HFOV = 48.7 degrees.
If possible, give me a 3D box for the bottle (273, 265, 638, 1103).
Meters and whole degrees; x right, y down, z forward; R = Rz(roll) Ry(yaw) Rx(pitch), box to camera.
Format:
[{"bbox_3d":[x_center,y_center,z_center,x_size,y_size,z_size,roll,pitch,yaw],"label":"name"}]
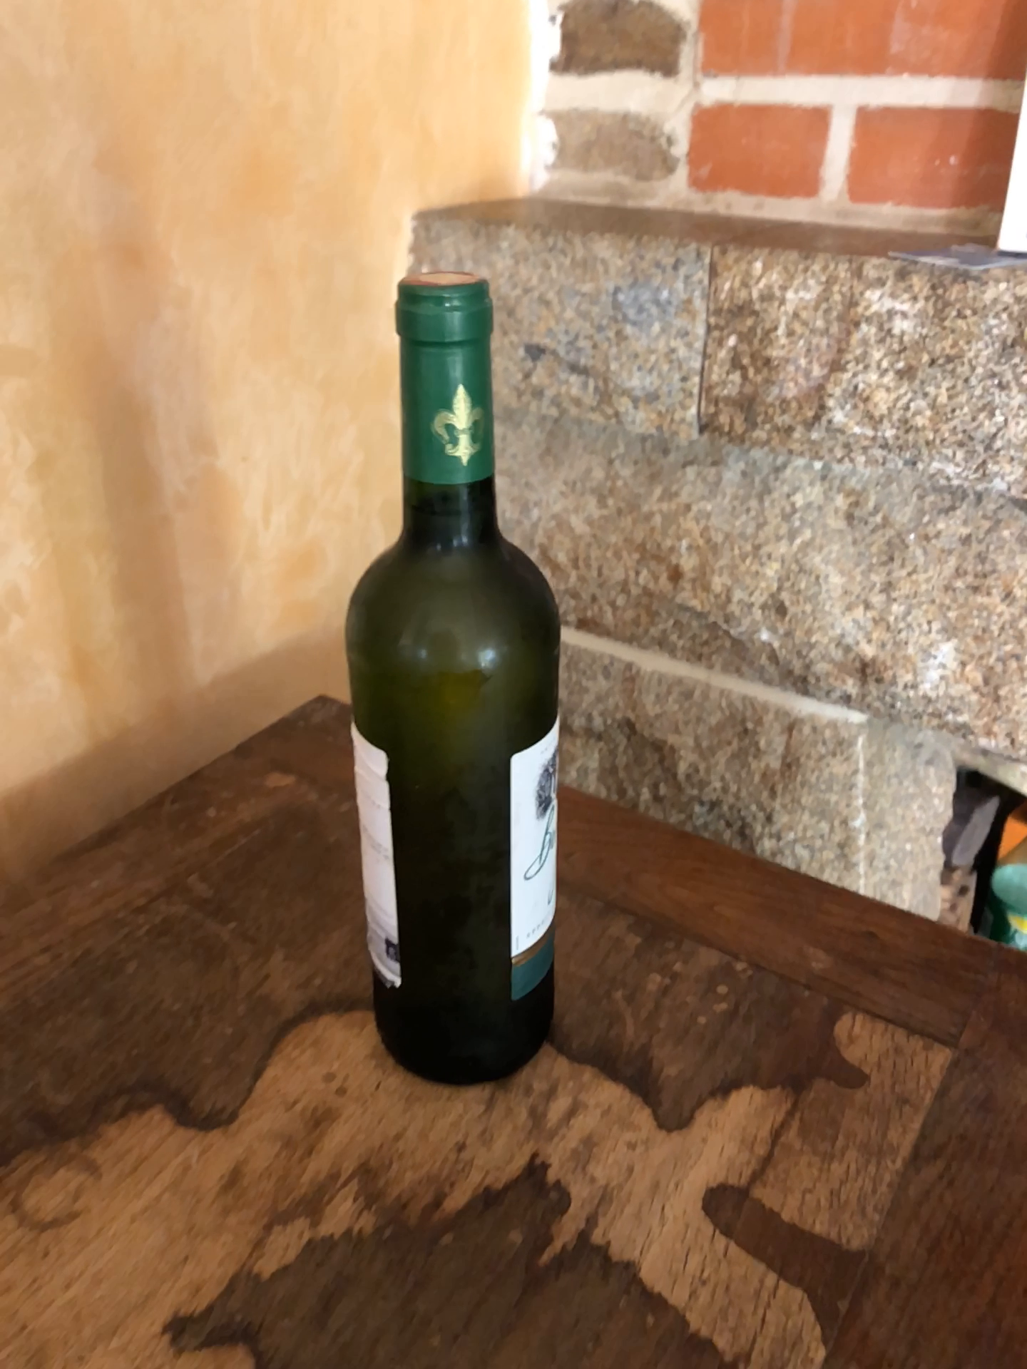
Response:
[{"bbox_3d":[-0.015,0.008,0.382,0.090,0.268,0.091,1,28,0],"label":"bottle"}]
